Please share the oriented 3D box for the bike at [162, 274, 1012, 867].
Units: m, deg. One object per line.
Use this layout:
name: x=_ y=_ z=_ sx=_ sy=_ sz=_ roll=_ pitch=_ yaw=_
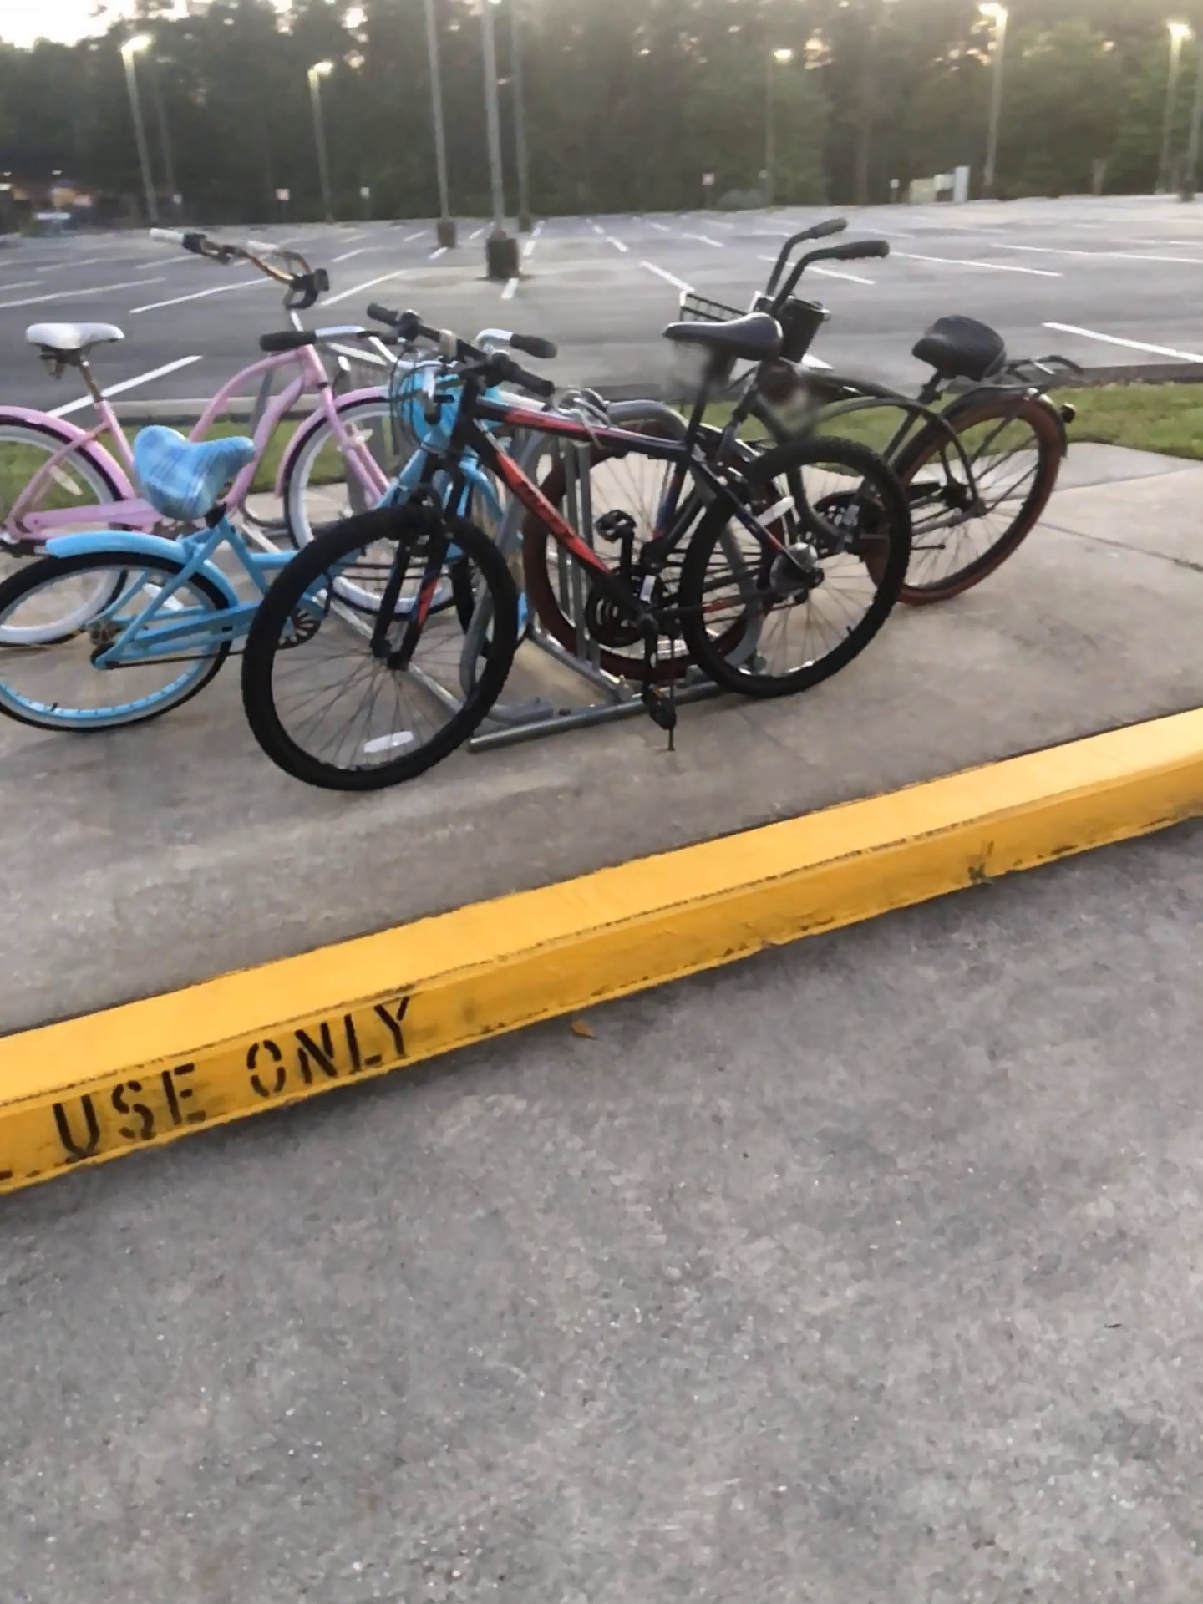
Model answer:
bike: x=0.030 y=-0.596 z=2.829 sx=1.631 sy=0.932 sz=0.626 roll=-15 pitch=27 yaw=-27
